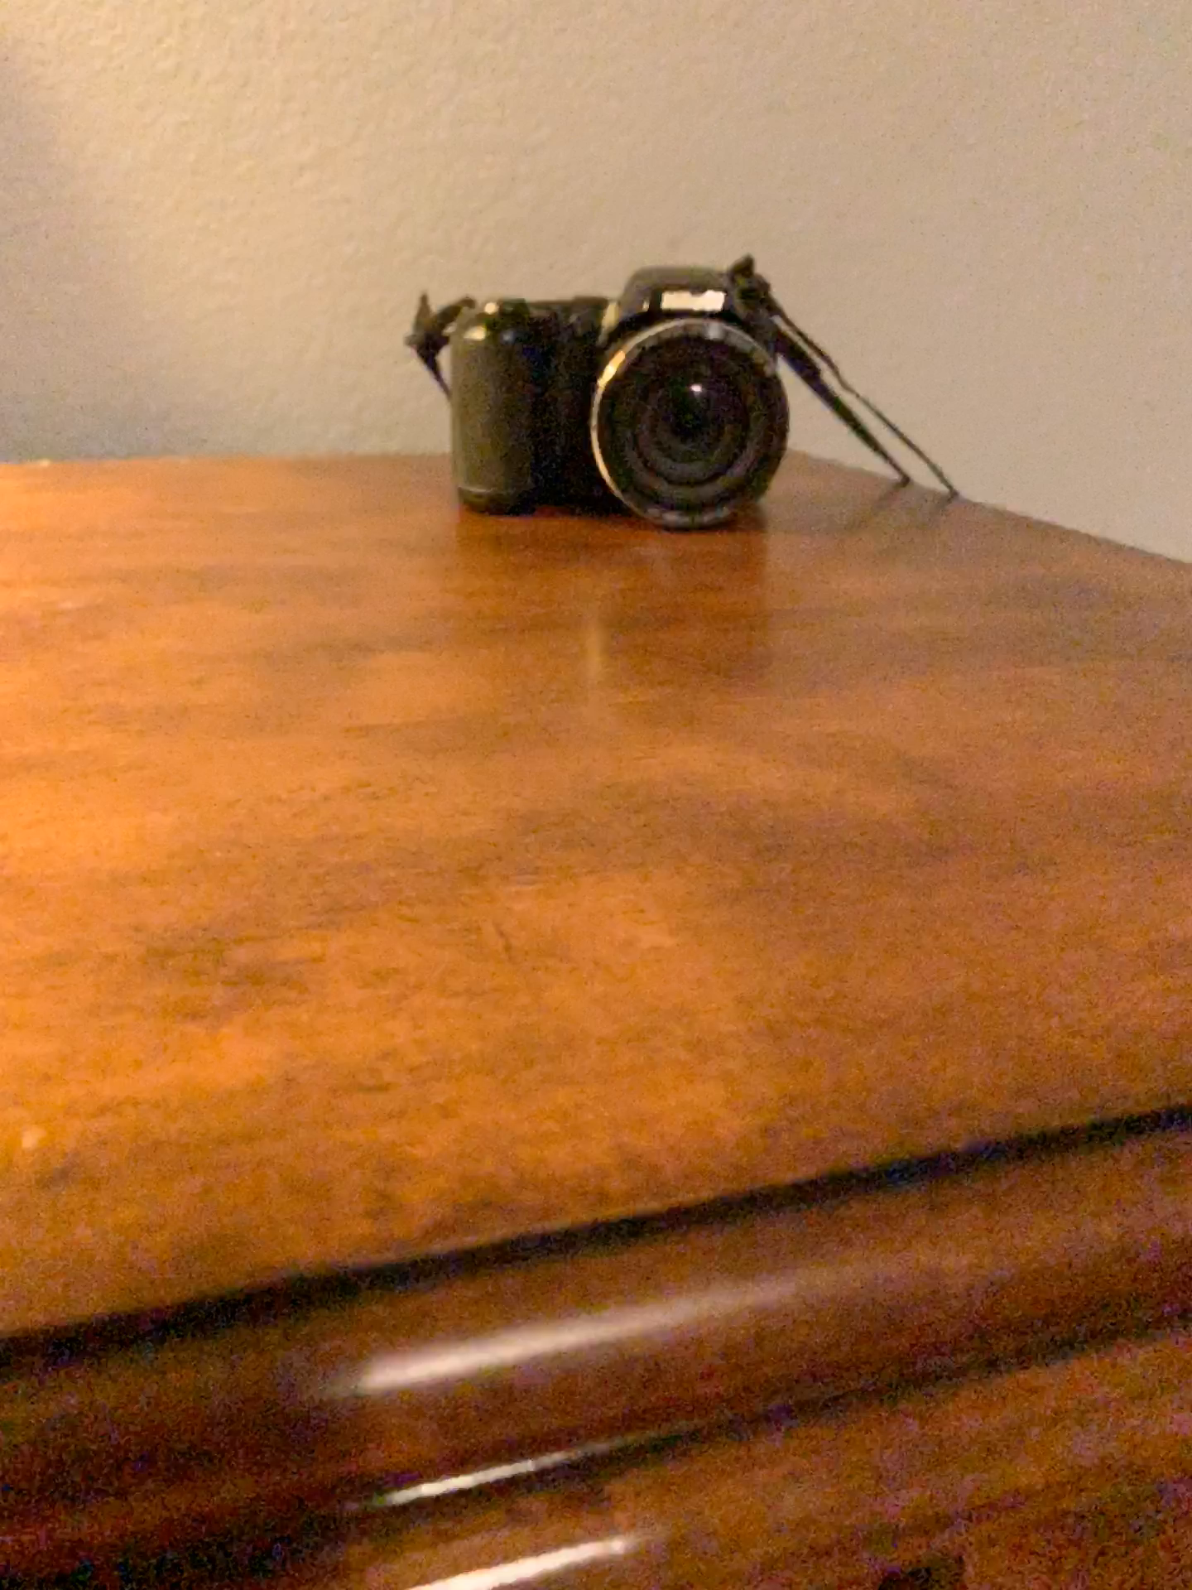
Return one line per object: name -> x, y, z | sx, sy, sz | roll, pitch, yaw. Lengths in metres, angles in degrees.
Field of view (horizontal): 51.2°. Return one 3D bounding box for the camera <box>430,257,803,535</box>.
camera -> 0.005, -0.143, 0.439 | 0.110, 0.081, 0.123 | 0, 21, -1
